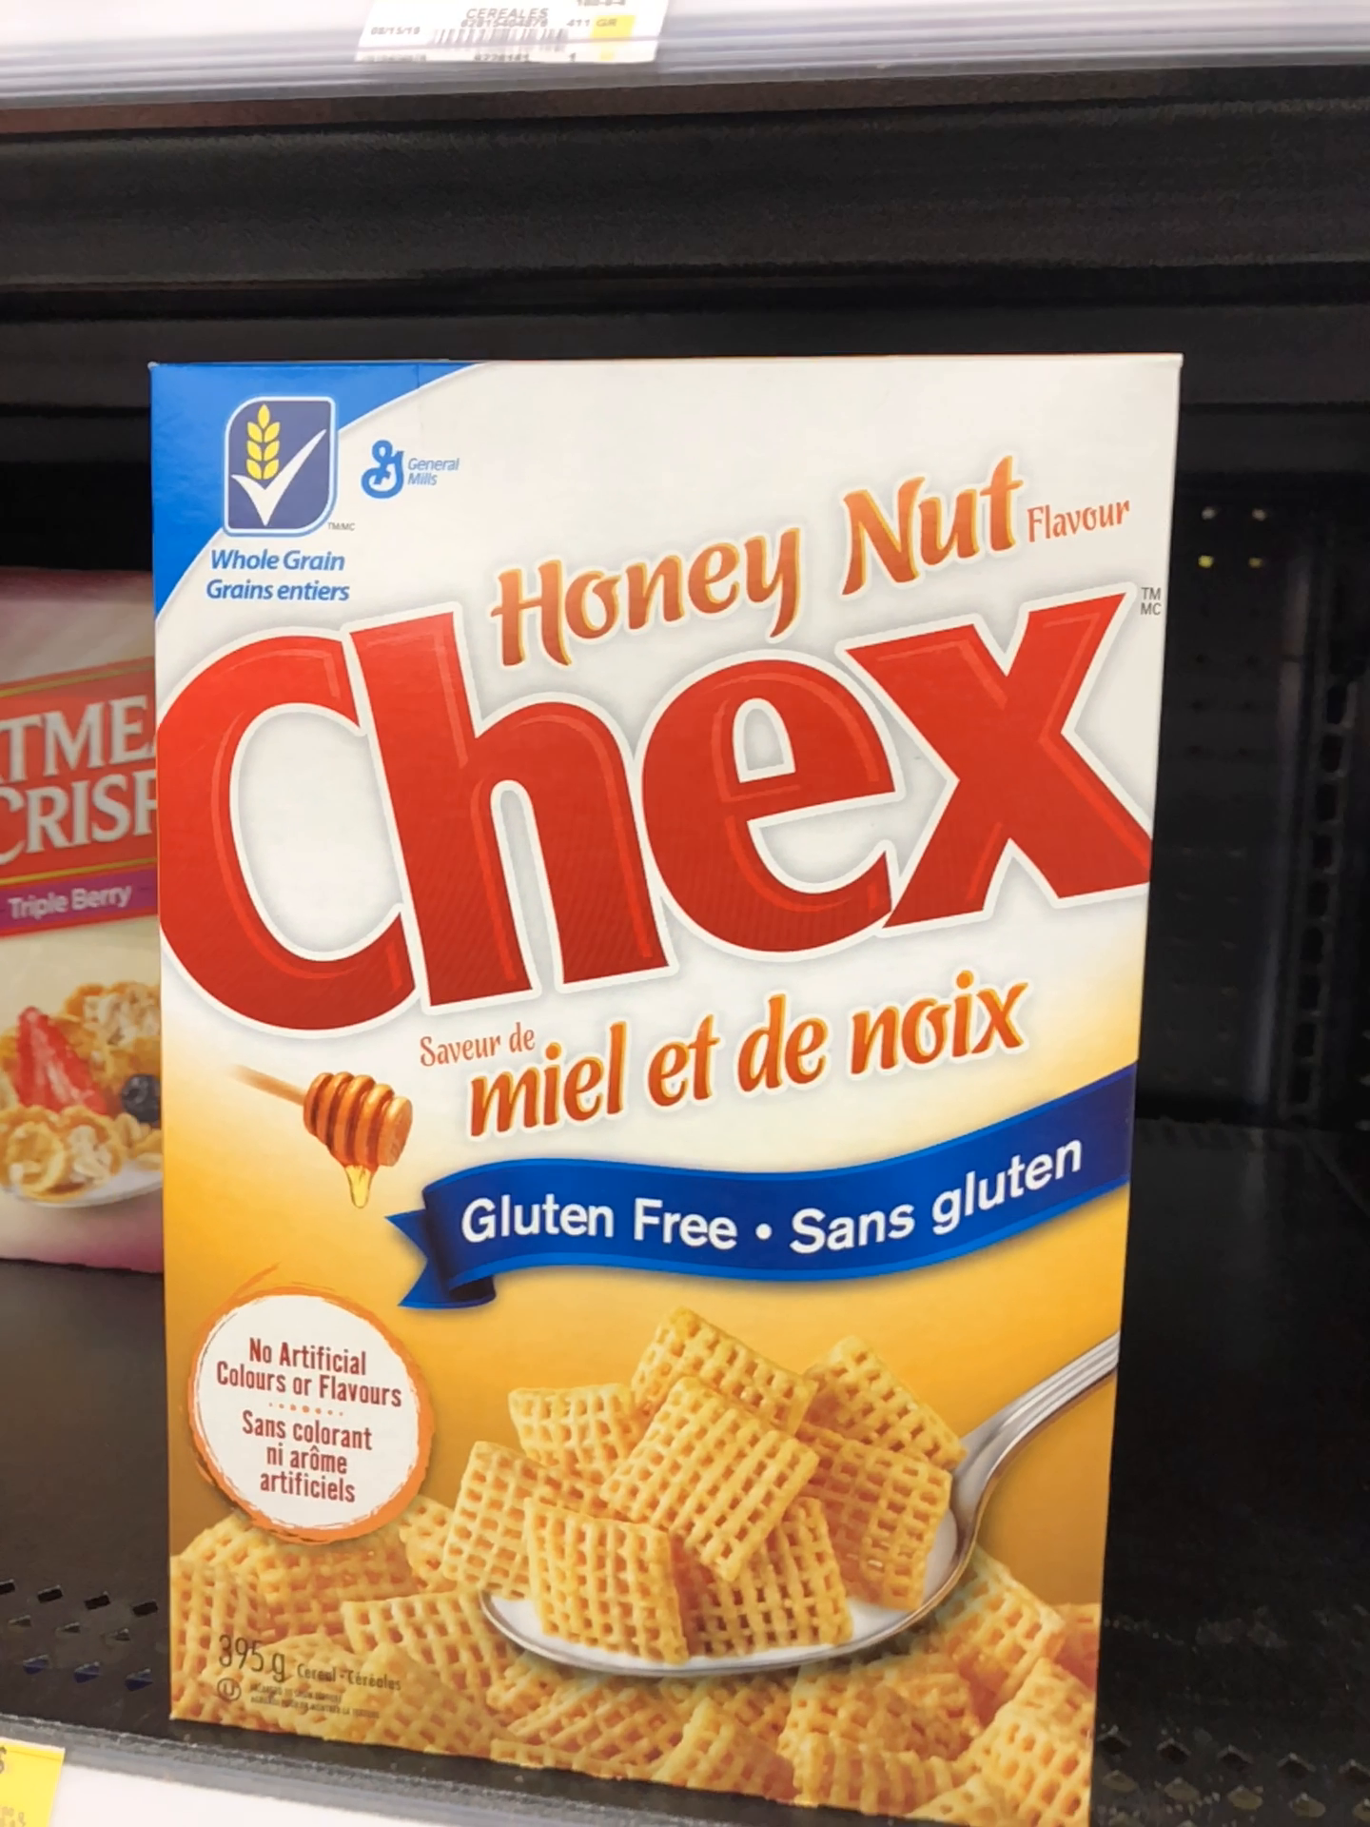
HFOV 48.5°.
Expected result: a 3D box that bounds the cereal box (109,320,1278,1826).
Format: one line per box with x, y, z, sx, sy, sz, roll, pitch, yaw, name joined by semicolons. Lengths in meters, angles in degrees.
-0.005;0.031;0.311;0.210;0.279;0.050;3;7;9;cereal box
